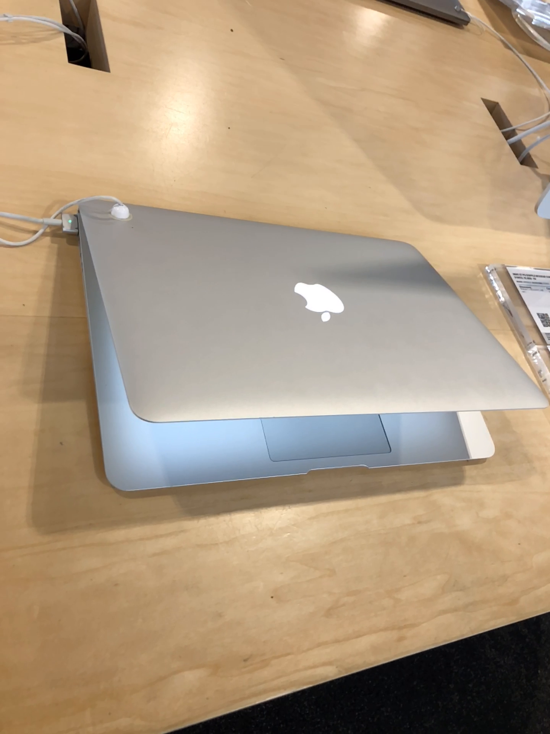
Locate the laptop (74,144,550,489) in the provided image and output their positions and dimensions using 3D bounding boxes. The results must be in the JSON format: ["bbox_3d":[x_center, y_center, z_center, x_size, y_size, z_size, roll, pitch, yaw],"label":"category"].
[{"bbox_3d":[0.030,-0.037,0.449,0.315,0.067,0.215,1,59,-28],"label":"laptop"}]
